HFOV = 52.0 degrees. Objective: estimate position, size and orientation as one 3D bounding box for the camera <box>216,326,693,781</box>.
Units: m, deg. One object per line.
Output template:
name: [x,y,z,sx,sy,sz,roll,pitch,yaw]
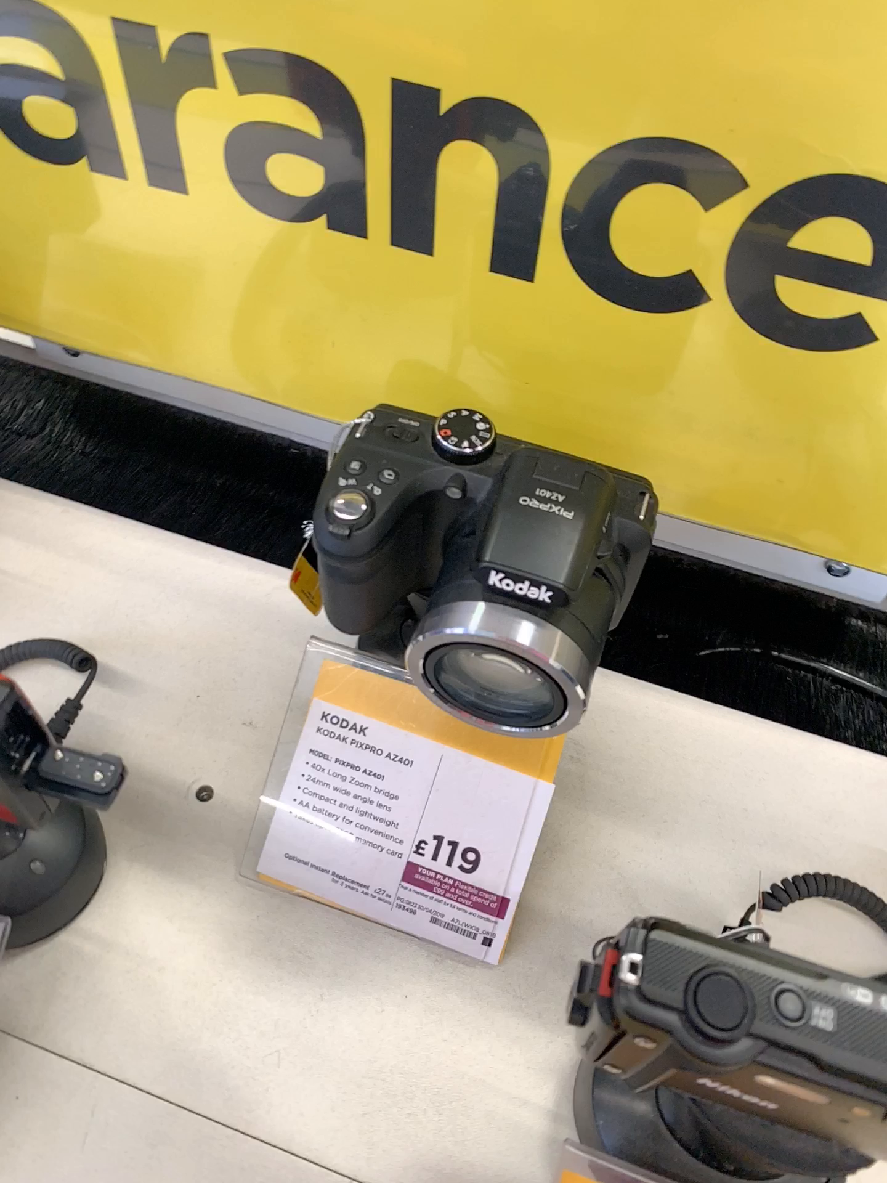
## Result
camera: [0.005,-0.012,0.327,0.130,0.099,0.091,16,55,8]
